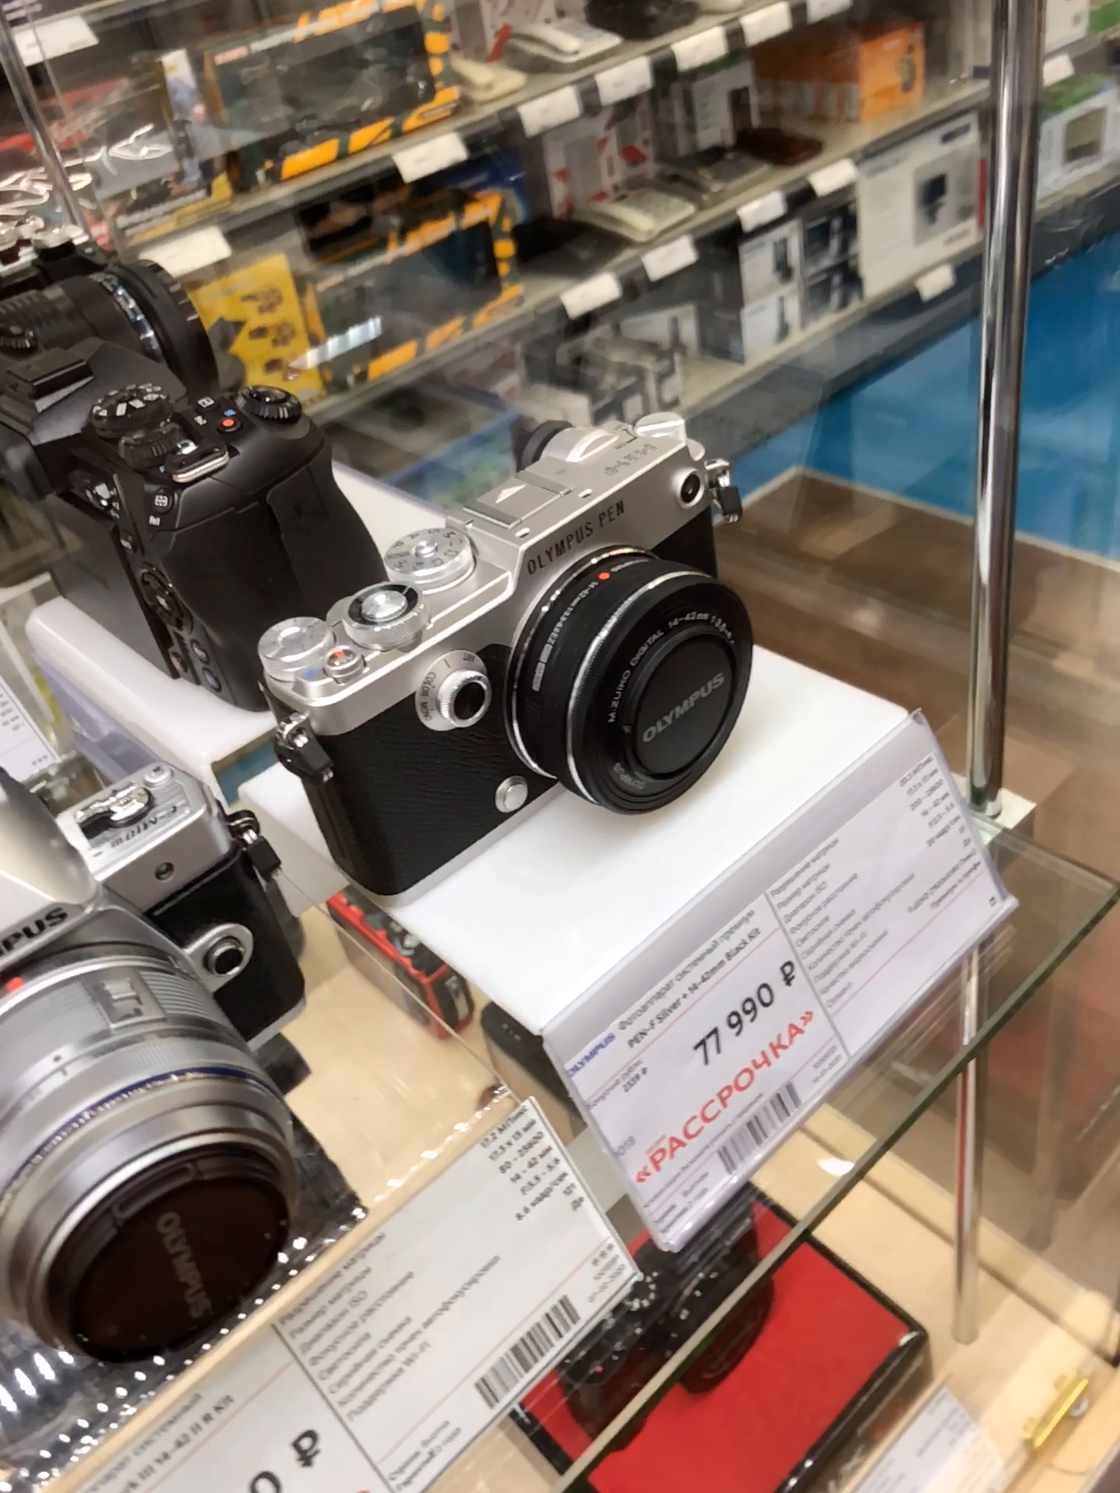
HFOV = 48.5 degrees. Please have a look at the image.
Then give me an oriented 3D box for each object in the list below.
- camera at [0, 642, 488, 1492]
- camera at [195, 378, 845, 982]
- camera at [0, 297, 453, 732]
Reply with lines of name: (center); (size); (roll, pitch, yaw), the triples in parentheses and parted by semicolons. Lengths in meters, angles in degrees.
camera: (-0.100, 0.058, 0.226); (0.127, 0.075, 0.099); (-35, 43, -26)
camera: (-0.003, -0.024, 0.298); (0.127, 0.070, 0.076); (-37, 44, -28)
camera: (-0.112, -0.078, 0.382); (0.084, 0.075, 0.128); (-36, 44, -27)
